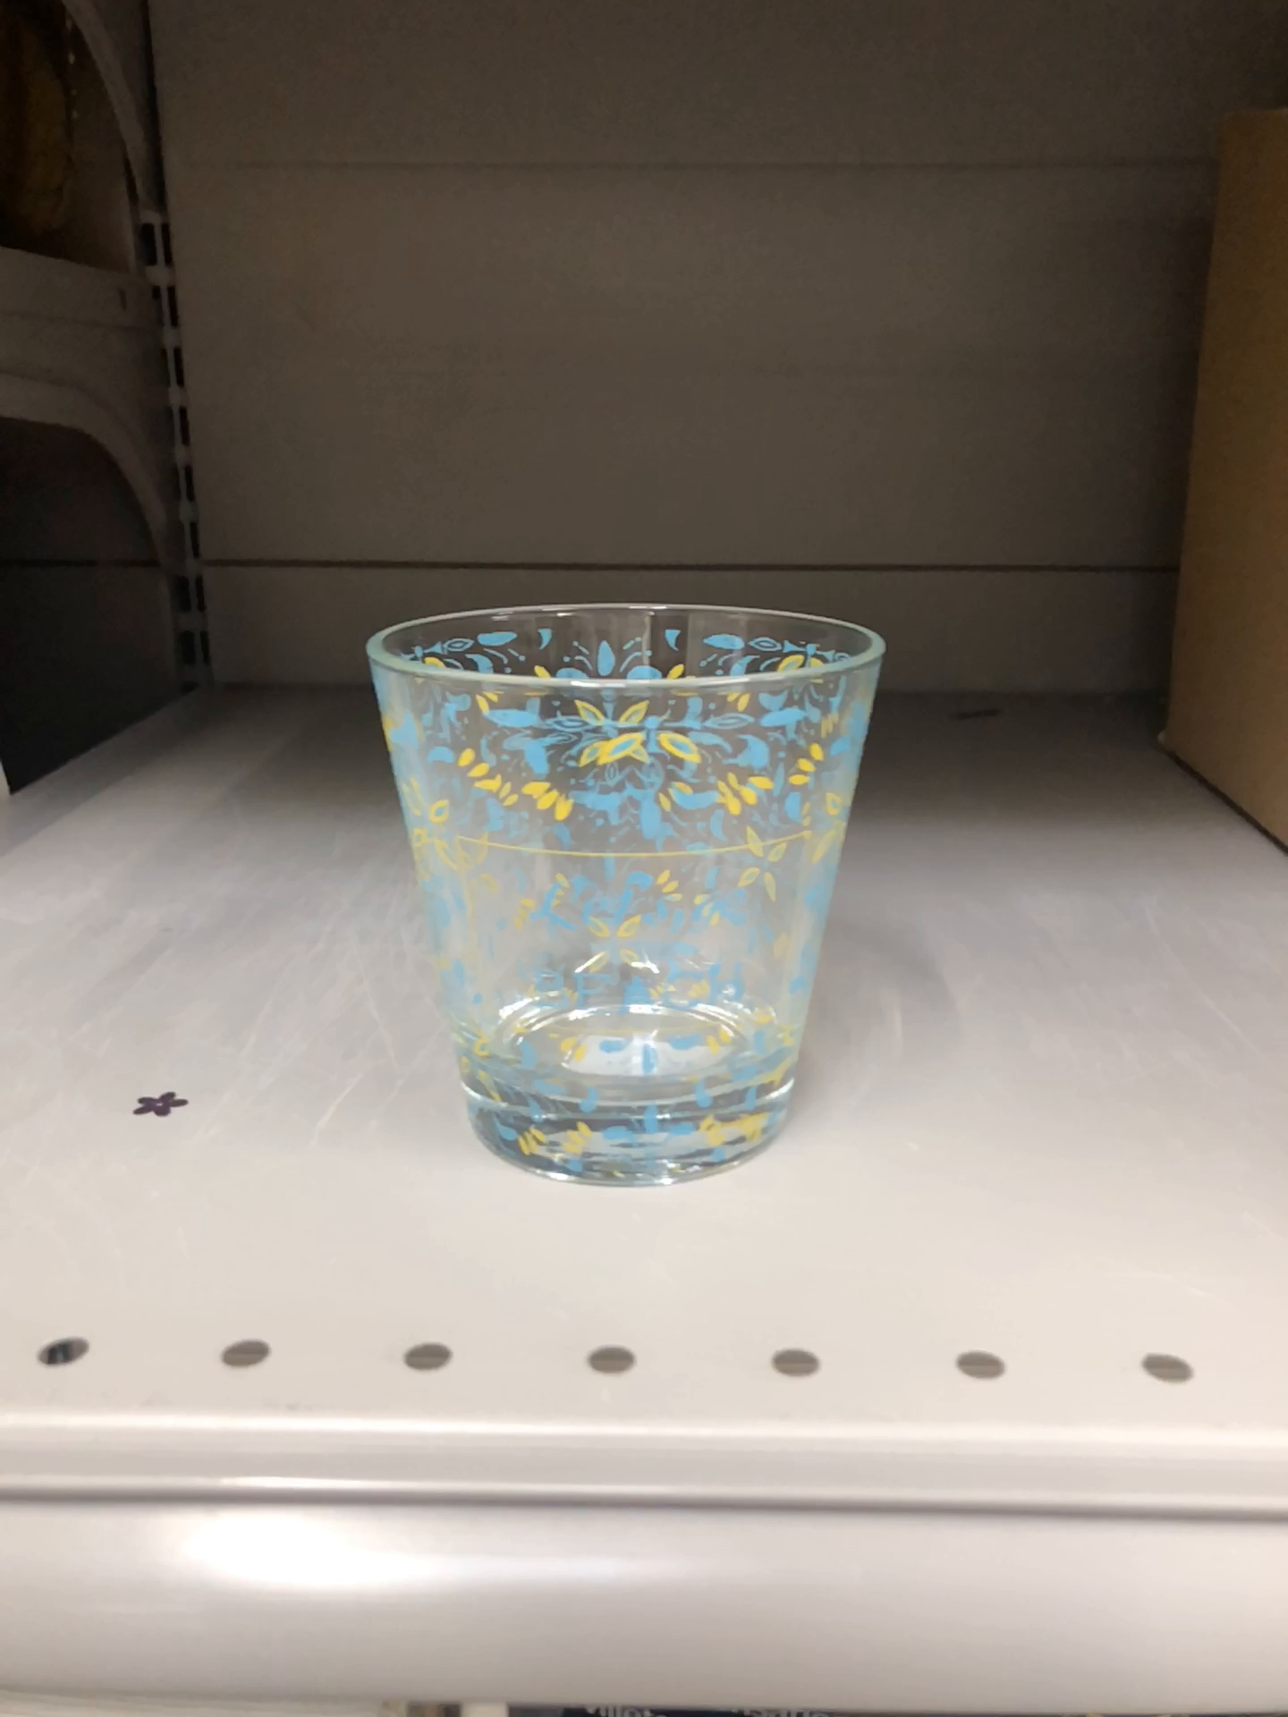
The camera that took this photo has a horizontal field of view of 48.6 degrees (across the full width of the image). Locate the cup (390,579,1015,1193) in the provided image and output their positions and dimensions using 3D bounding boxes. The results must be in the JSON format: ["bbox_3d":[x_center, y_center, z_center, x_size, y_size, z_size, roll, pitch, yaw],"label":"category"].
[{"bbox_3d":[0.004,-0.002,0.252,0.088,0.080,0.084,1,20,0],"label":"cup"}]
